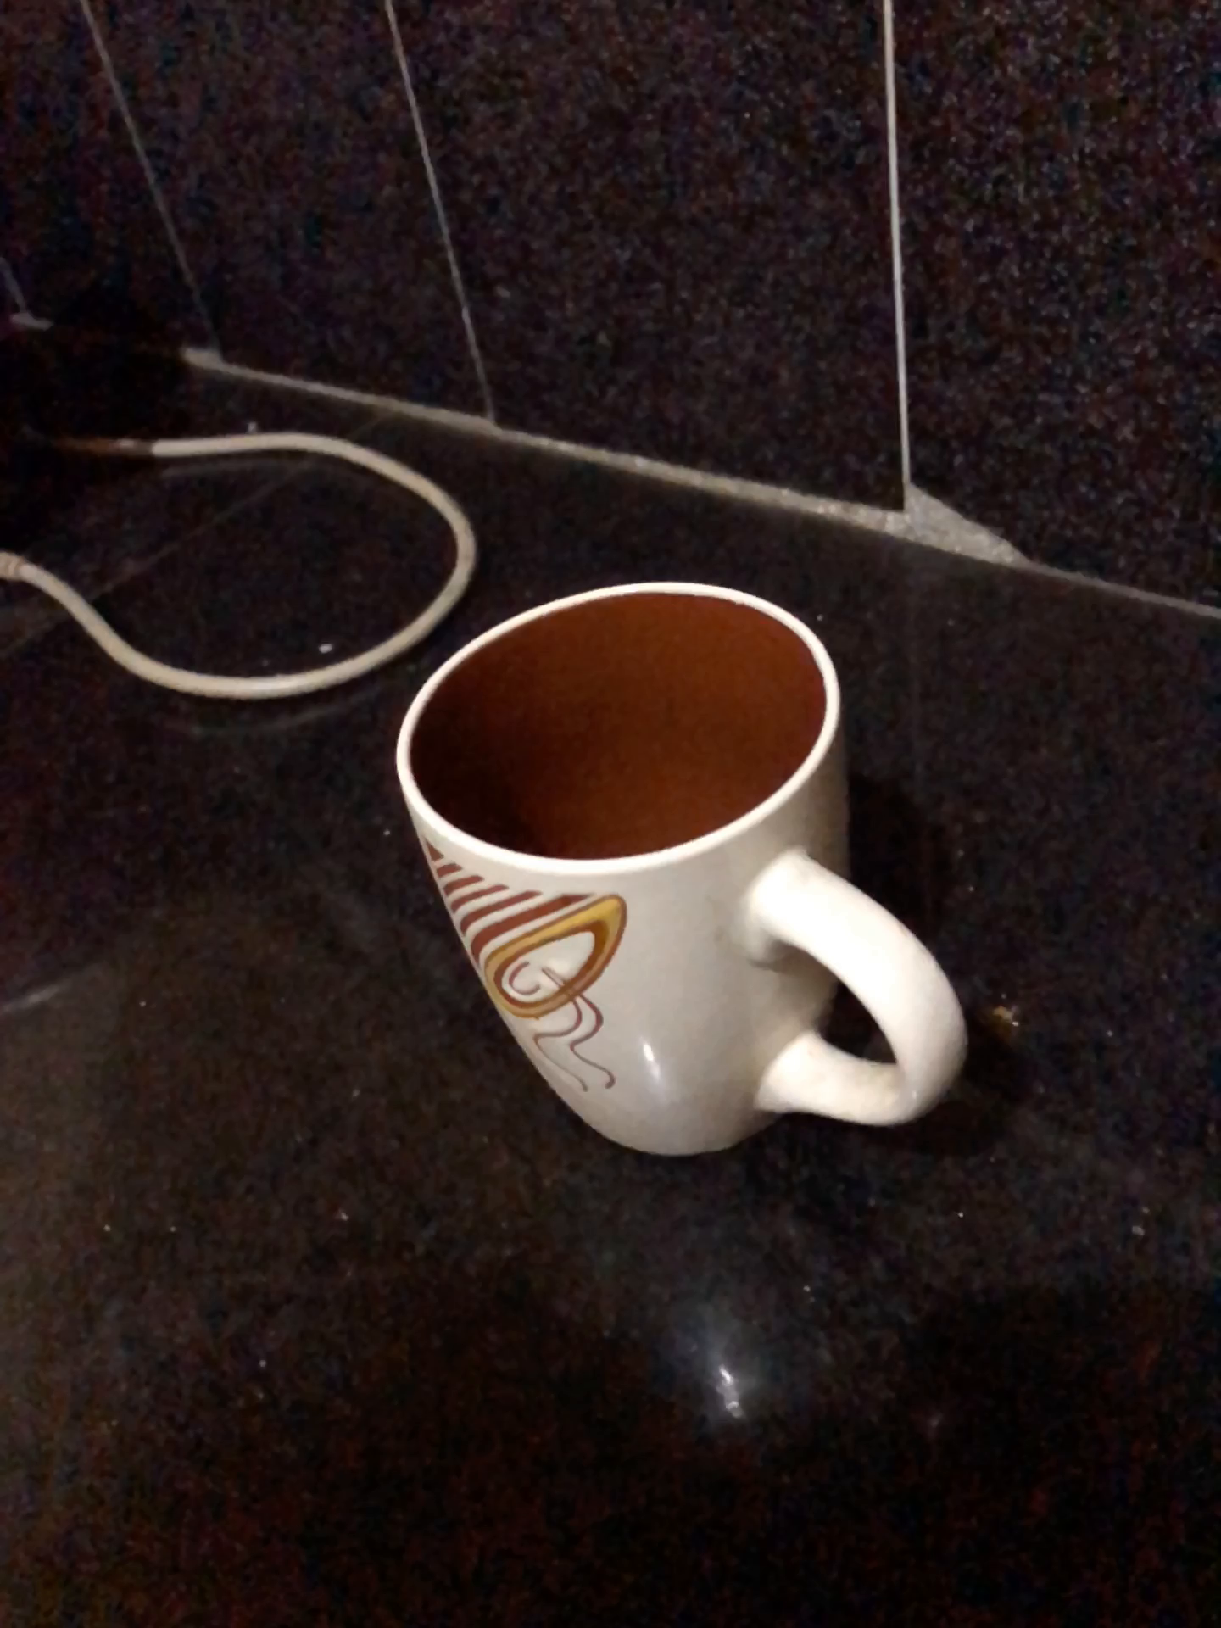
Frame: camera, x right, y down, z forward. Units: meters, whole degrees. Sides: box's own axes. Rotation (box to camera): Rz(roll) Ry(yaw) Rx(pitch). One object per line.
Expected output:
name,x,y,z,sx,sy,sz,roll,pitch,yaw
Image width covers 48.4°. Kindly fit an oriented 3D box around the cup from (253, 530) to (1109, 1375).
cup,0.017,0.019,0.265,0.120,0.089,0.090,23,53,35
